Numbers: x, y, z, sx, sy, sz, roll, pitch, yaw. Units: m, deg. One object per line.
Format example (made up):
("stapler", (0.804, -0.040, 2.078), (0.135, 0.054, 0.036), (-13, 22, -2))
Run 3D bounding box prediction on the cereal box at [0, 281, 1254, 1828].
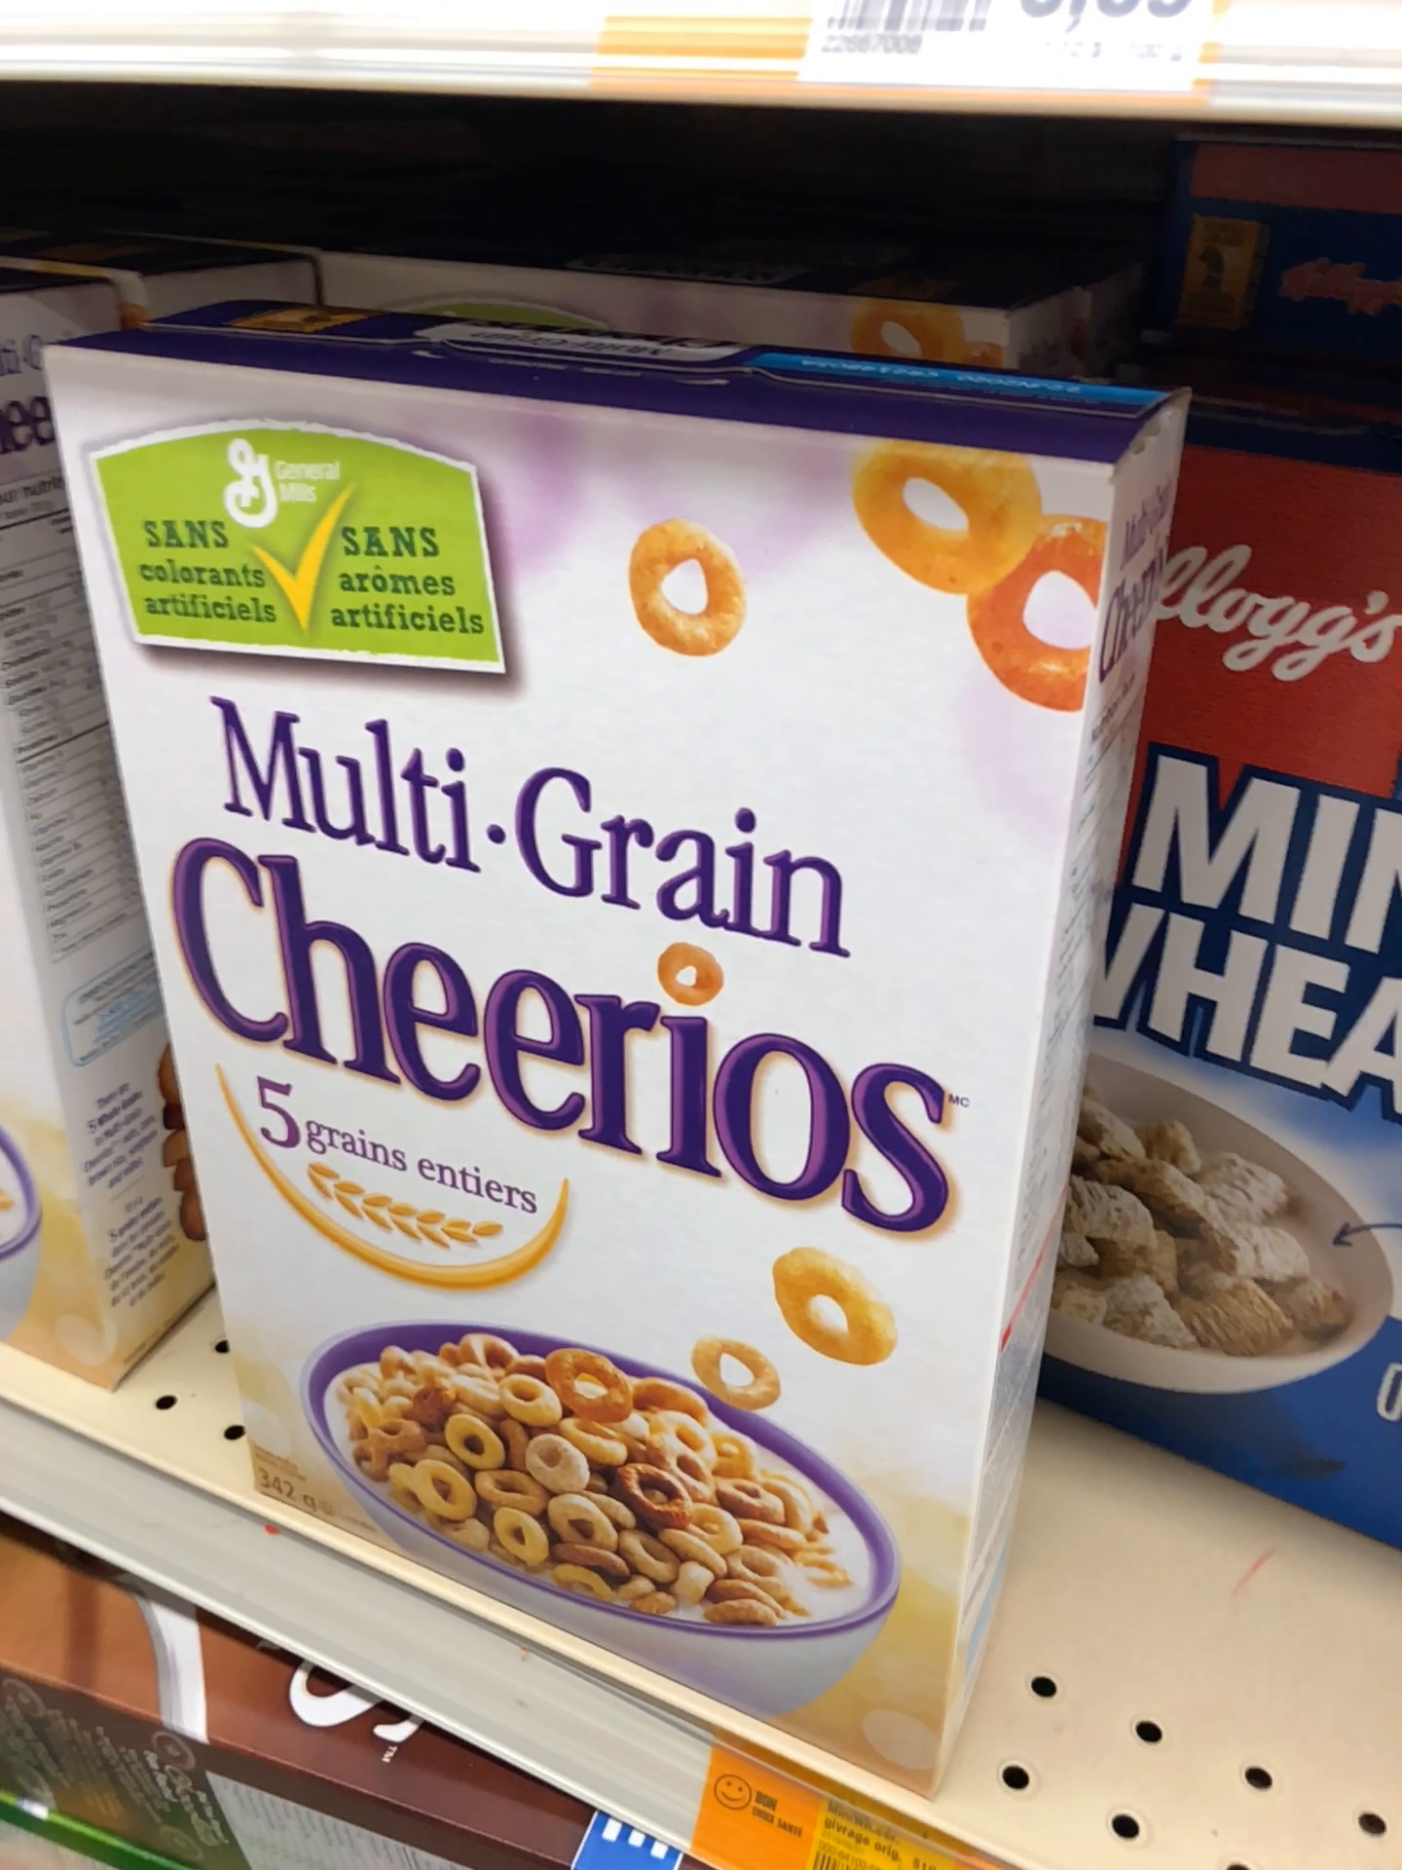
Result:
("cereal box", (-0.022, 0.027, 0.316), (0.200, 0.278, 0.060), (14, 32, 22))
